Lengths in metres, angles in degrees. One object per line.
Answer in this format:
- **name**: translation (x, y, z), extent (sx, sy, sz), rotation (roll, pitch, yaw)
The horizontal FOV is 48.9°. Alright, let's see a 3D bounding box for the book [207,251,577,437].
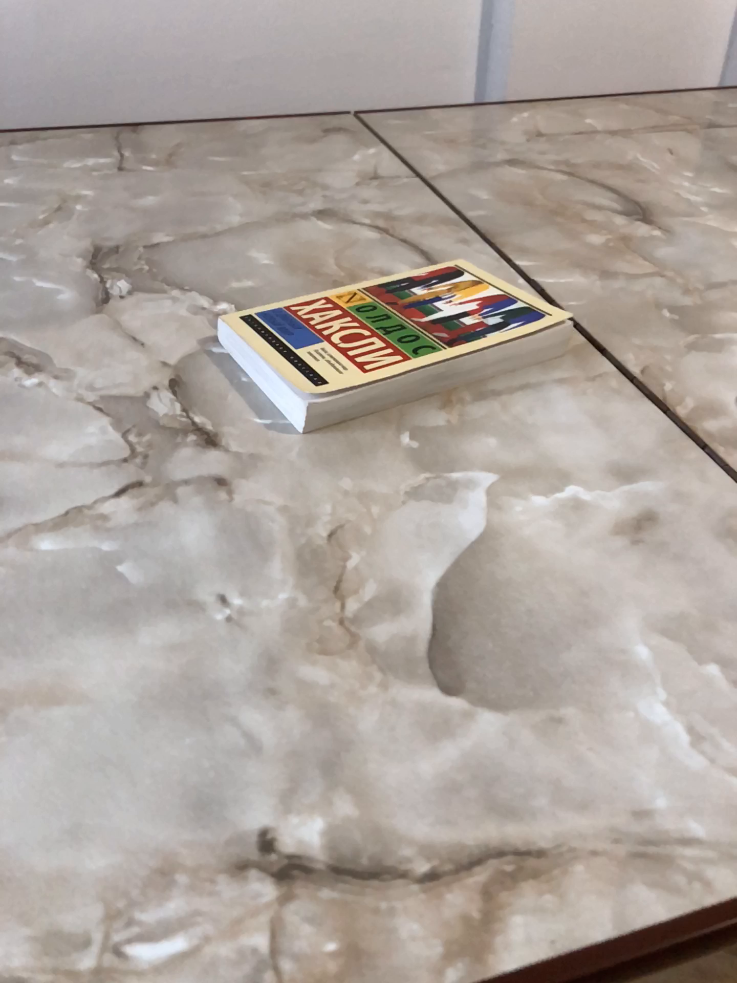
- **book**: translation (0.013, -0.097, 0.487), extent (0.184, 0.020, 0.121), rotation (-20, 43, -24)
